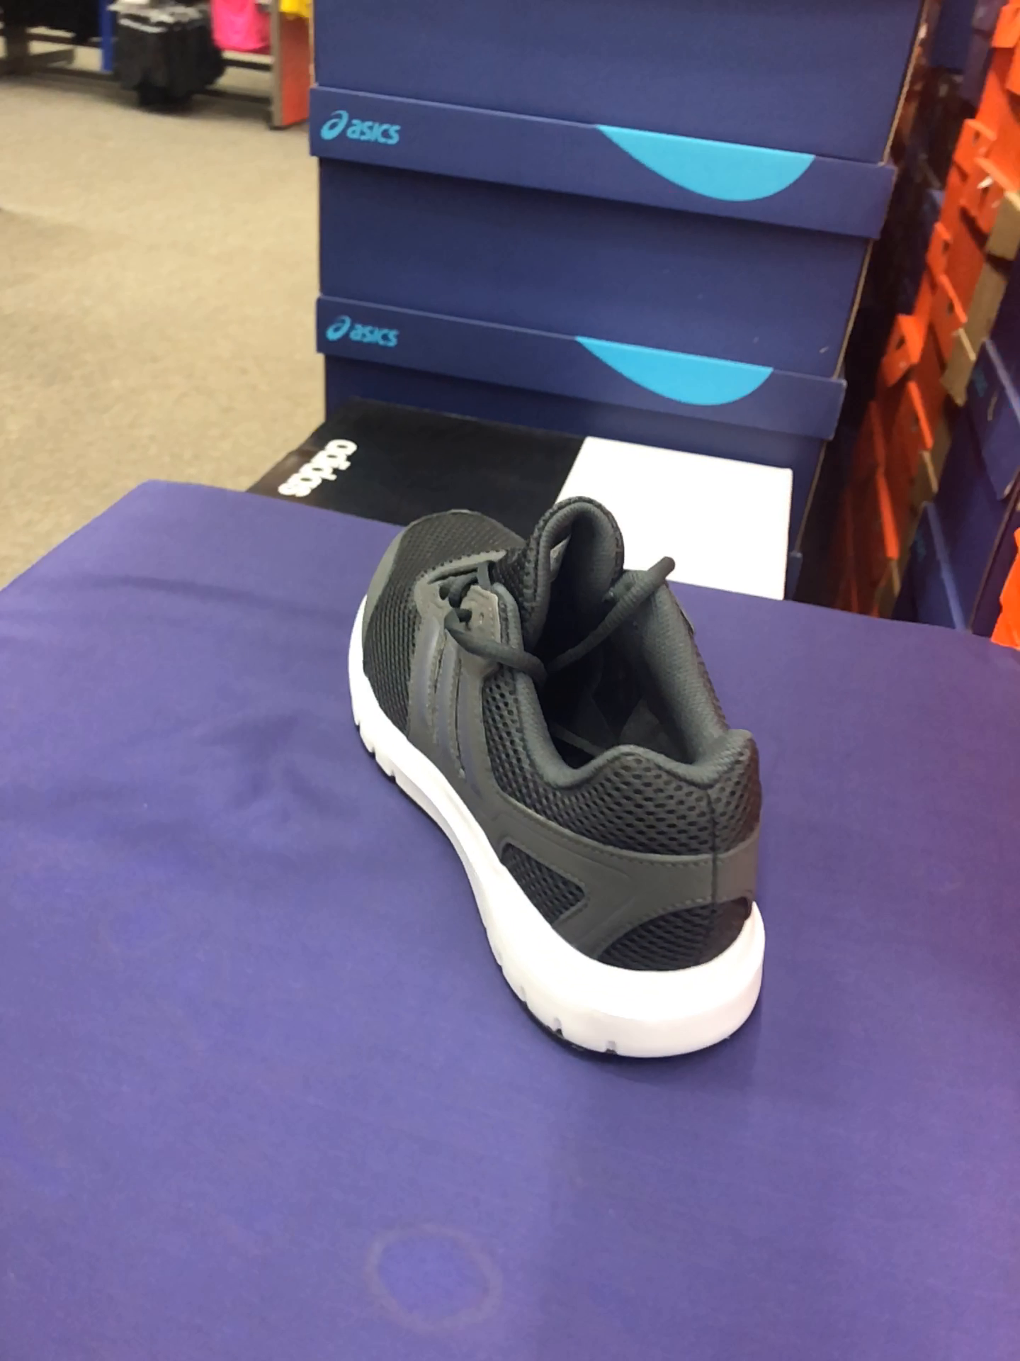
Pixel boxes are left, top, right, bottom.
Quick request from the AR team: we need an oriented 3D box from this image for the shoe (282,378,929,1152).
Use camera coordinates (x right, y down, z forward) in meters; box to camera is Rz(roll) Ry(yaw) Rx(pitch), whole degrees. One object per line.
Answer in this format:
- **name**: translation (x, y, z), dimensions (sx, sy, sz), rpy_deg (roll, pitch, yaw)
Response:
- **shoe**: translation (0.001, -0.003, 0.393), dimensions (0.101, 0.106, 0.281), rpy_deg (-8, 36, -20)
